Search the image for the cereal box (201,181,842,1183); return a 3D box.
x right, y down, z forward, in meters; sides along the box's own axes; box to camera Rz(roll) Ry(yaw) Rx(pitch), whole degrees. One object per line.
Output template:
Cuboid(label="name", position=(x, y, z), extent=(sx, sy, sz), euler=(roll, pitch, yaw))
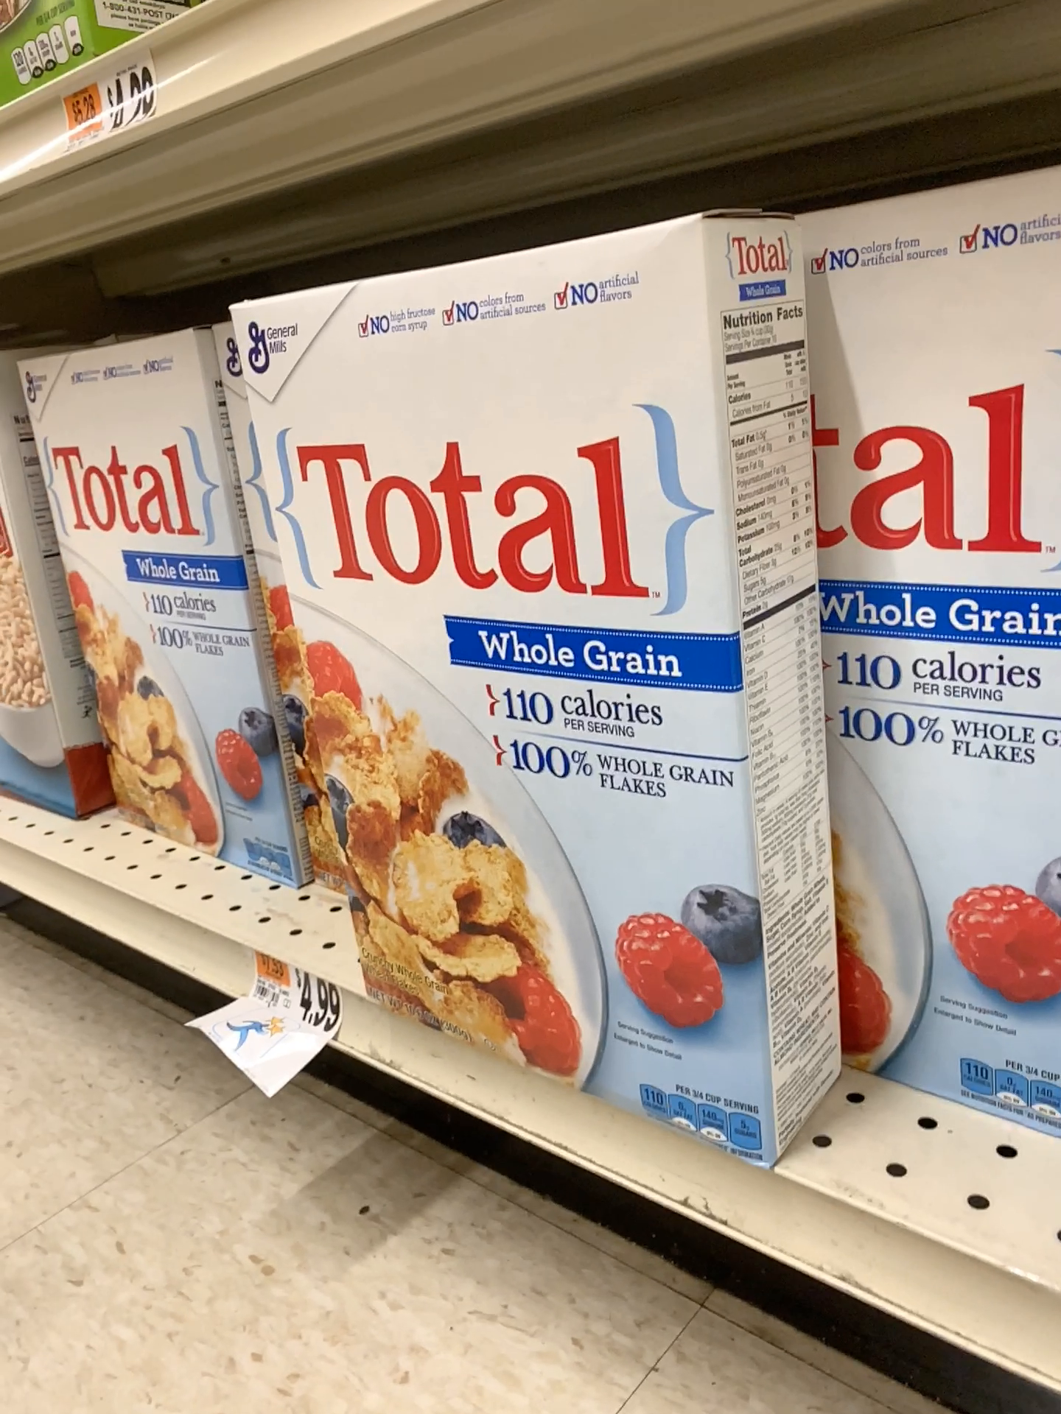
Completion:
Cuboid(label="cereal box", position=(-0.005, -0.007, 0.371), extent=(0.200, 0.279, 0.050), euler=(9, 24, 41))
